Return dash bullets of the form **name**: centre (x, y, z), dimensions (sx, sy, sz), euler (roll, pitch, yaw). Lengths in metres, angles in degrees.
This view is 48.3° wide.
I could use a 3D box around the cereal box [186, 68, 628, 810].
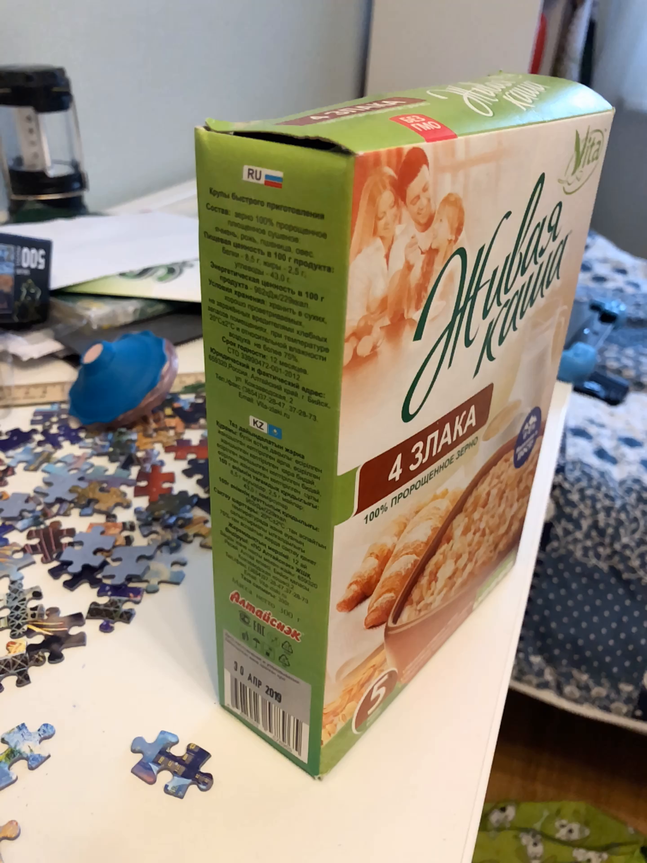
- **cereal box**: centre (0.029, -0.004, 0.243), dimensions (0.050, 0.209, 0.141), euler (23, 35, 32)
